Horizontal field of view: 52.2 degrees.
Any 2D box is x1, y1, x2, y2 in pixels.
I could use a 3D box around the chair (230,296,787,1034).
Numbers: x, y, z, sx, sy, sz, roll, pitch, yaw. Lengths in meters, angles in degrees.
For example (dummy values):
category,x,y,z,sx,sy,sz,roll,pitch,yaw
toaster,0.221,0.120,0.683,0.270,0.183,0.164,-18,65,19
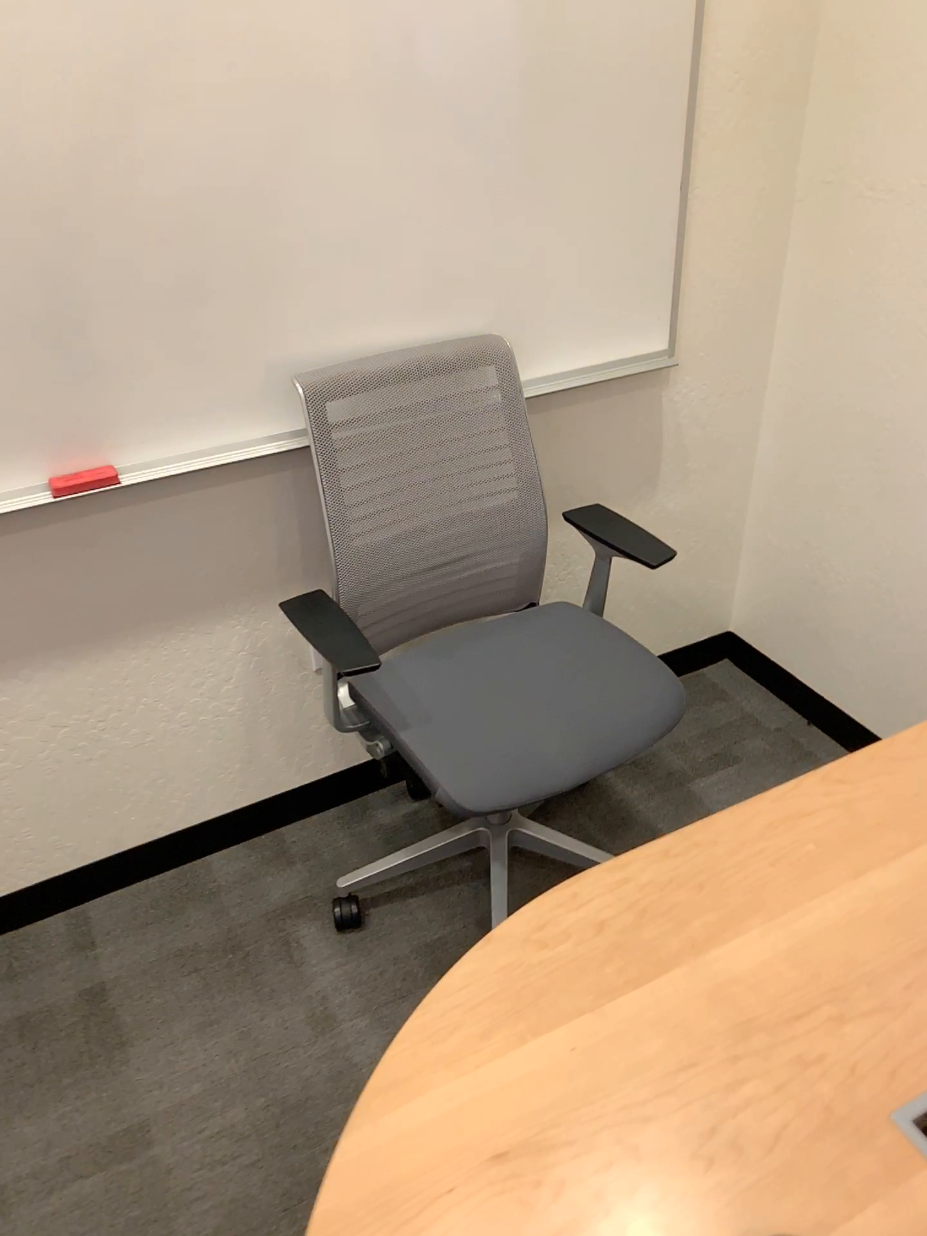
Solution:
category,x,y,z,sx,sy,sz,roll,pitch,yaw
chair,0.066,0.055,2.100,0.761,1.263,0.754,-18,34,-26
